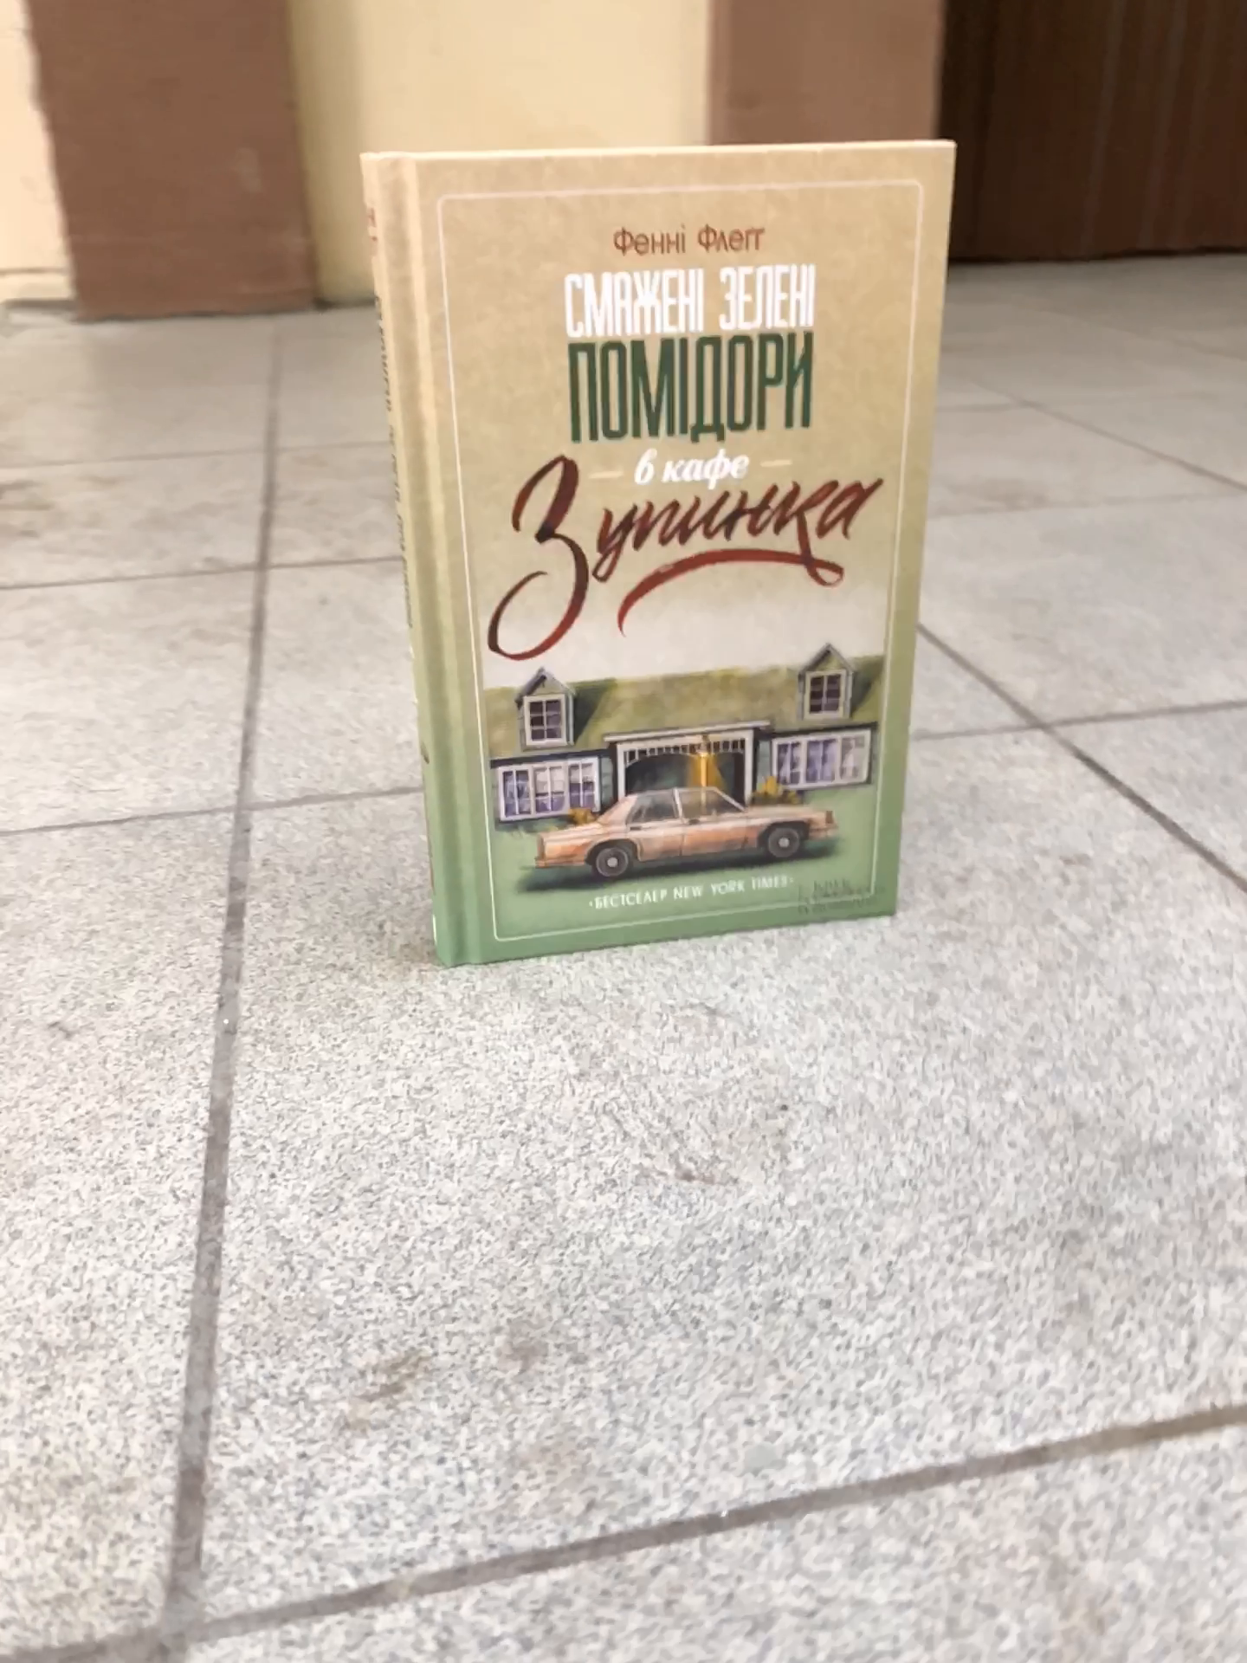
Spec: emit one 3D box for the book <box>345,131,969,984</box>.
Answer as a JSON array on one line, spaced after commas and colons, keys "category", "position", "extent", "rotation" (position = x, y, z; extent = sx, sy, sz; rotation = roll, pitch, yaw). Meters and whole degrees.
[{"category": "book", "position": [0.009, -0.065, 0.362], "extent": [0.140, 0.209, 0.030], "rotation": [-6, 26, -10]}]
